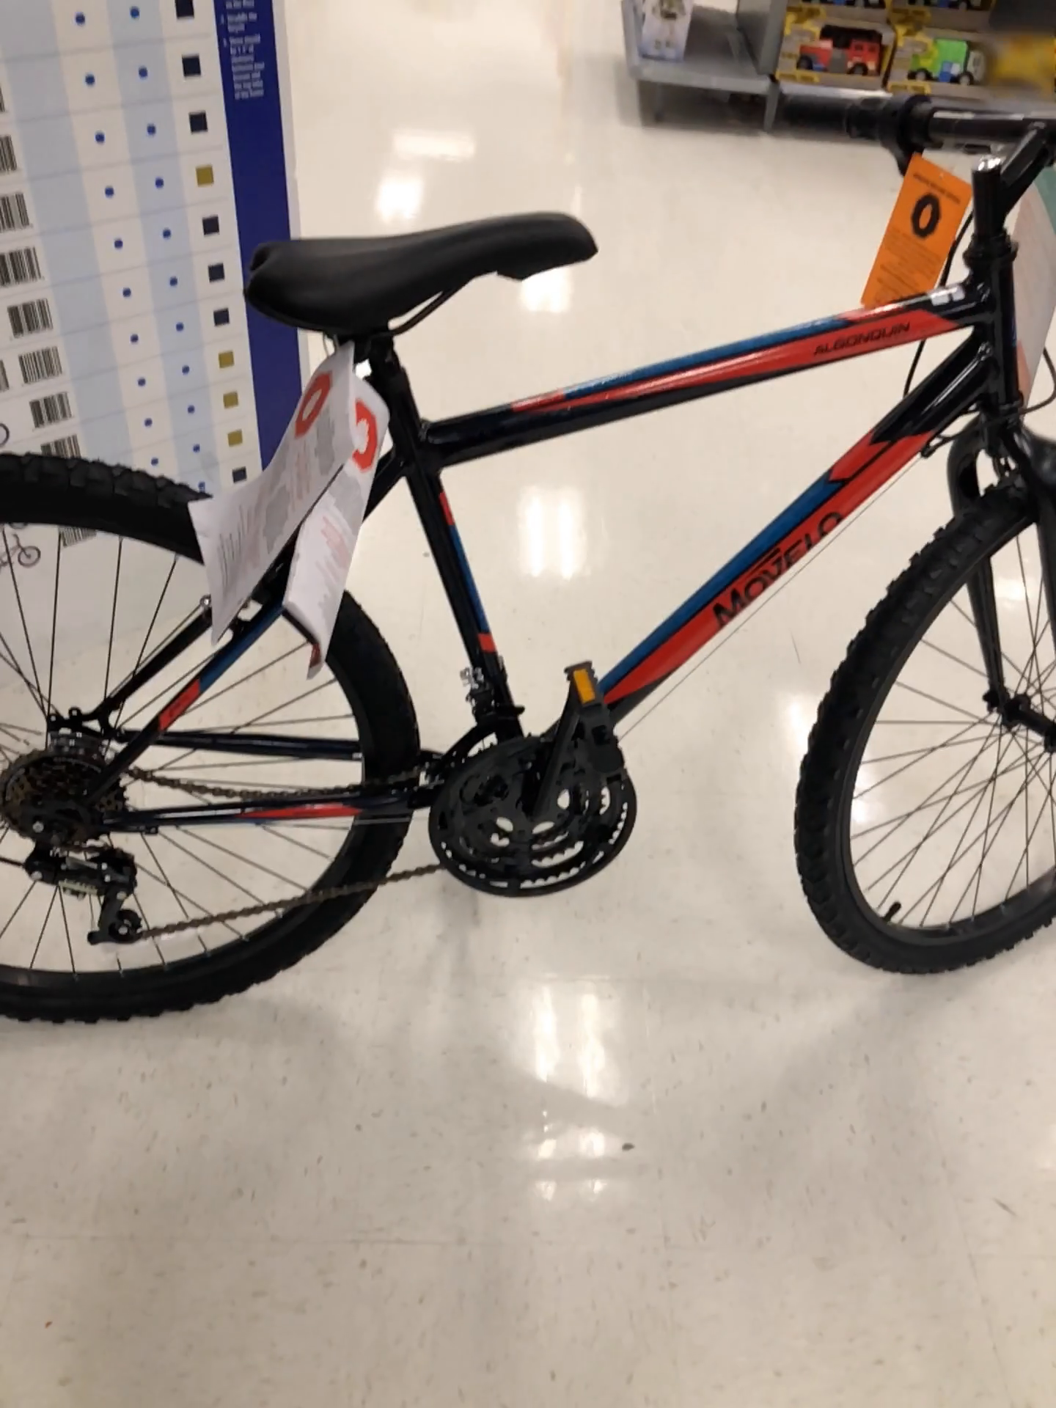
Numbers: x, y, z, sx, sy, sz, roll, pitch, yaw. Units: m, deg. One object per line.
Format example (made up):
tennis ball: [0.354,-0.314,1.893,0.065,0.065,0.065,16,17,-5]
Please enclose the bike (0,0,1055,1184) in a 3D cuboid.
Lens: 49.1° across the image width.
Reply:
bike: [0.240,-0.128,1.083,1.284,0.942,0.562,-5,43,-9]
